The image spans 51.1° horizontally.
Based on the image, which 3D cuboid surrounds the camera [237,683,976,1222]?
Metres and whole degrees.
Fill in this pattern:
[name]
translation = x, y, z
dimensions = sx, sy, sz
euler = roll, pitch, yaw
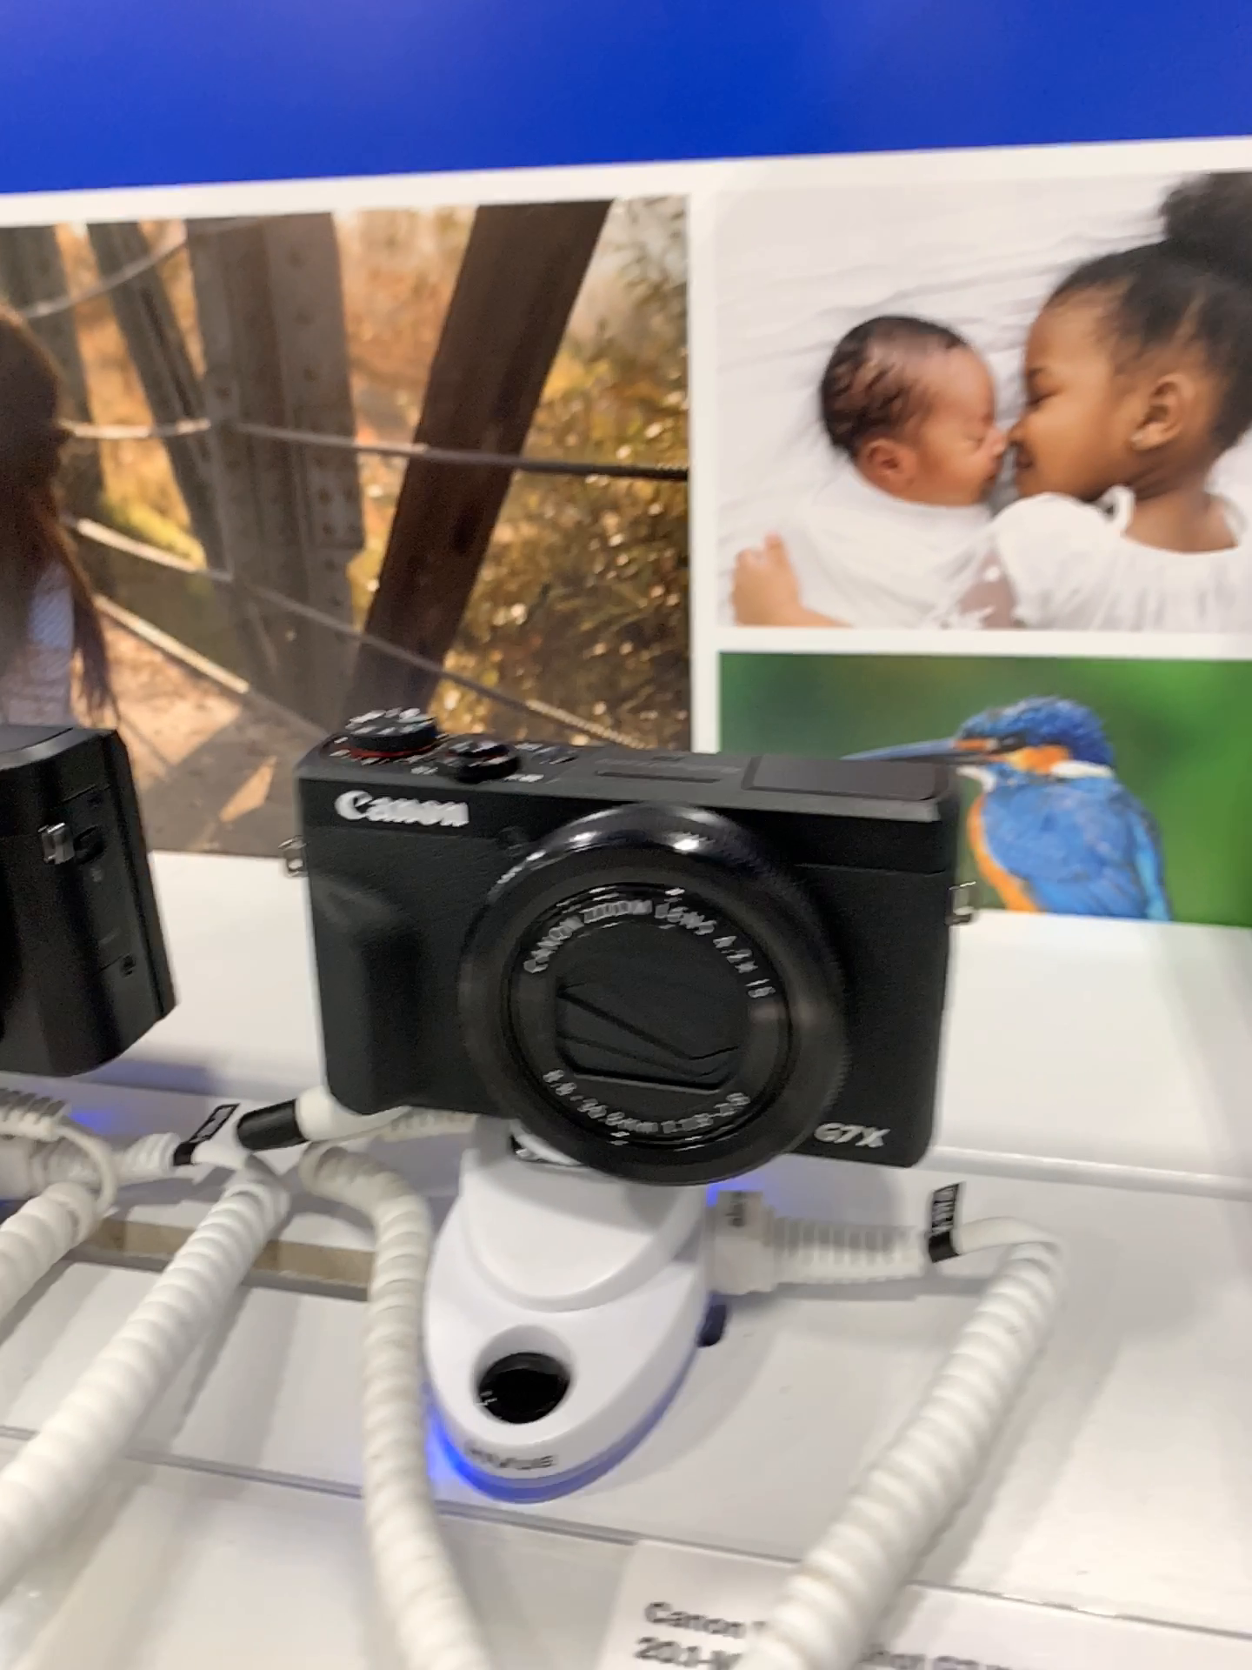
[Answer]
[camera]
translation = -0.001, 0.016, 0.219
dimensions = 0.110, 0.070, 0.040
euler = 4, 22, 14
